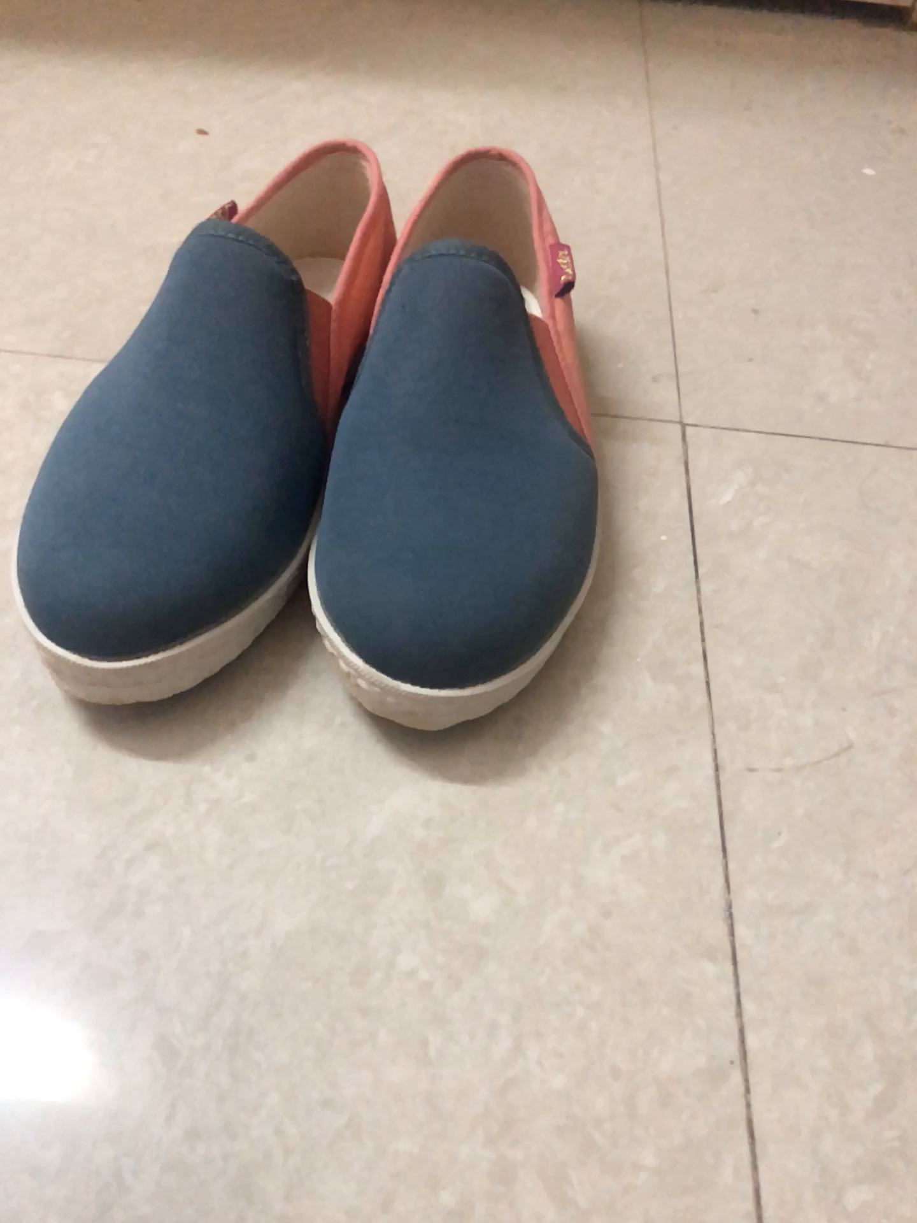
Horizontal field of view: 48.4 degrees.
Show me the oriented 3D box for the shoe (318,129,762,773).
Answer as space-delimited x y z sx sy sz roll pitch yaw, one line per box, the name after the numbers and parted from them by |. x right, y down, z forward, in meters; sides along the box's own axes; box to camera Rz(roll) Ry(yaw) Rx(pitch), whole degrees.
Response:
0.021 -0.065 0.304 0.090 0.060 0.222 5 47 0 | shoe

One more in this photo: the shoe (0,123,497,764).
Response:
-0.051 -0.069 0.309 0.090 0.060 0.222 10 47 4 | shoe
